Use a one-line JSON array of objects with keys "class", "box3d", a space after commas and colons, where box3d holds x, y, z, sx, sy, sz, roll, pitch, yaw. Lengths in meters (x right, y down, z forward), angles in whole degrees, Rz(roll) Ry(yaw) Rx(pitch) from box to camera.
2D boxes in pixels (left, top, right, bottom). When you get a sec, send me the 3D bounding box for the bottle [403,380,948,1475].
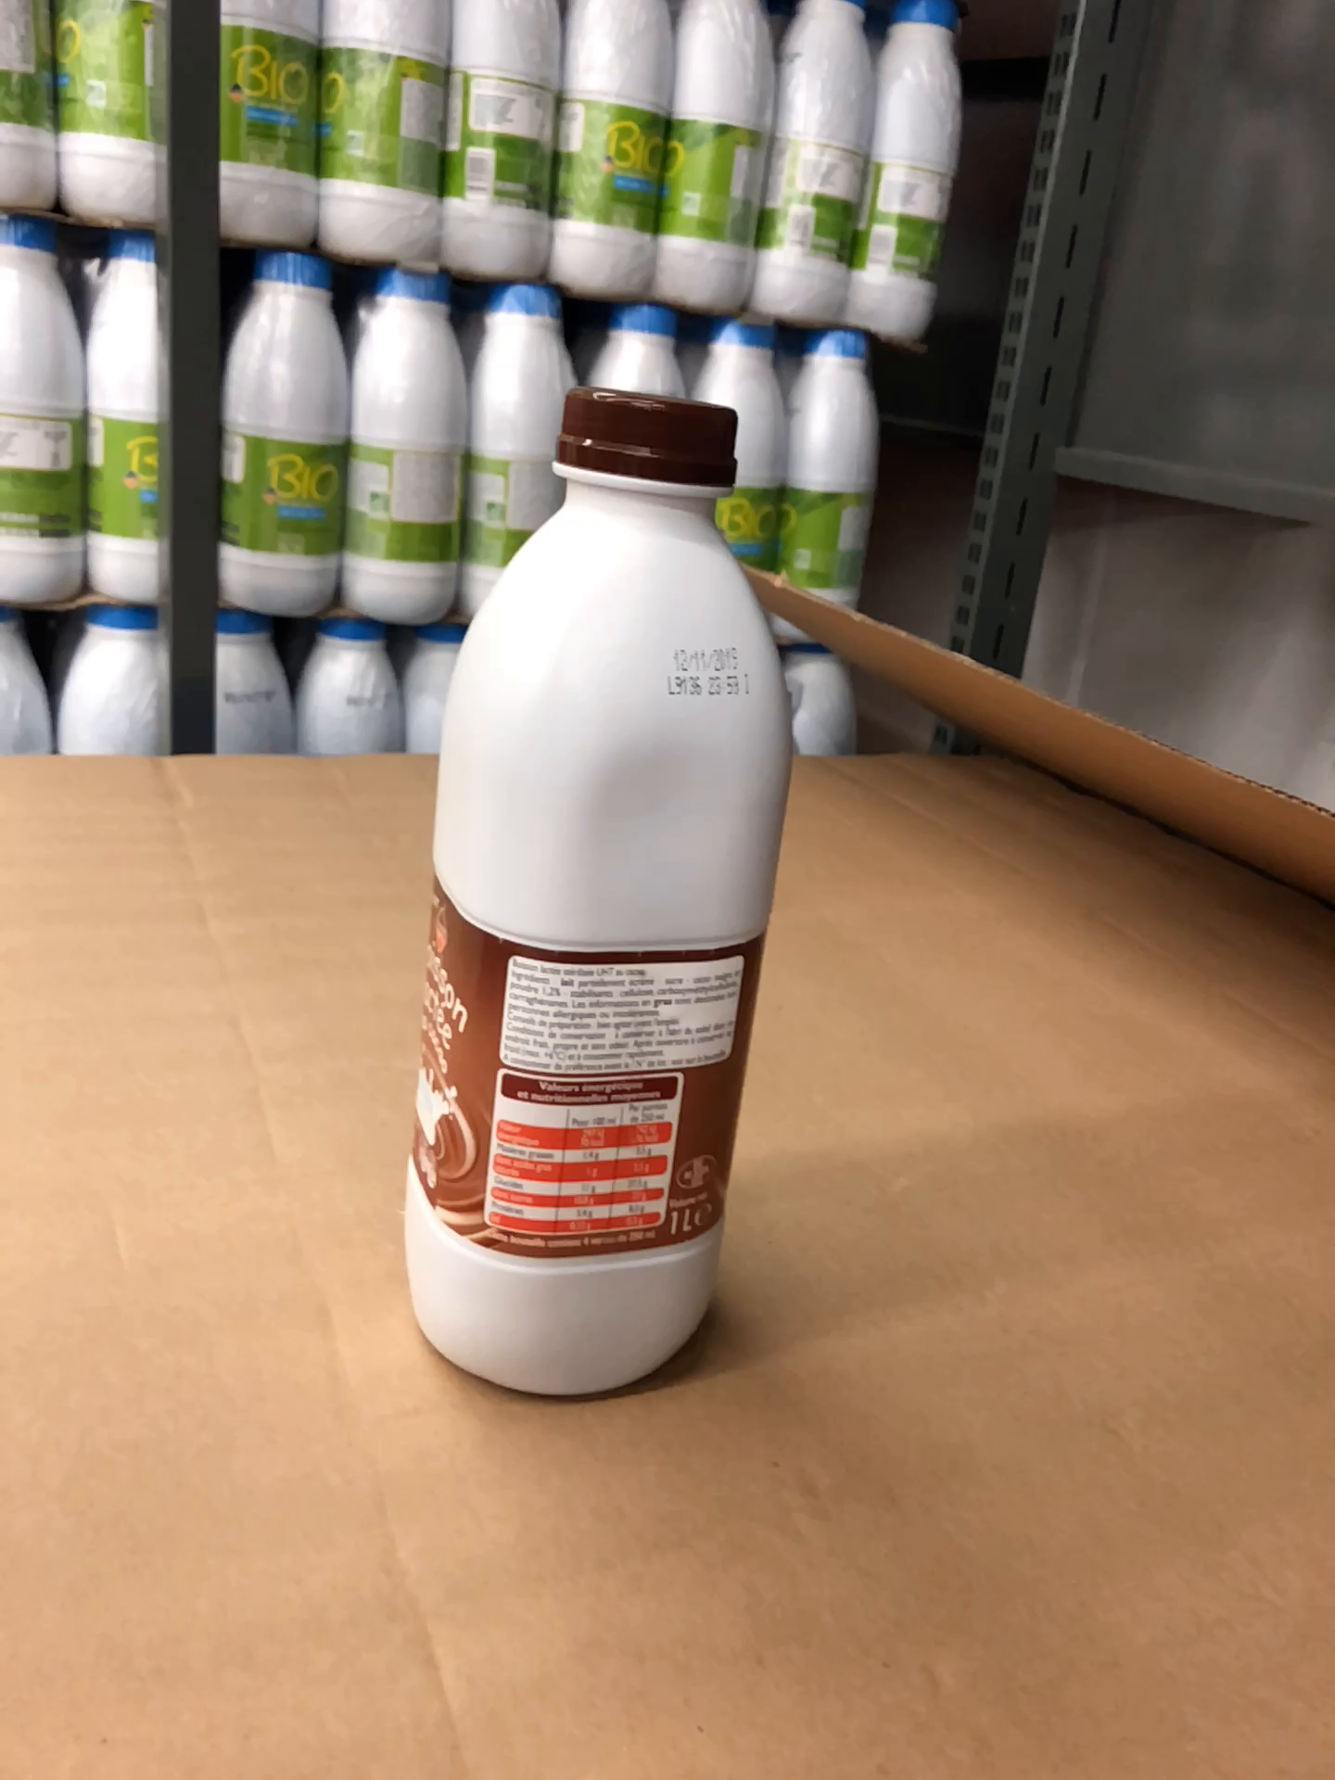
[{"class": "bottle", "box3d": [-0.009, 0.007, 0.360, 0.080, 0.239, 0.090, -2, 21, -23]}]
